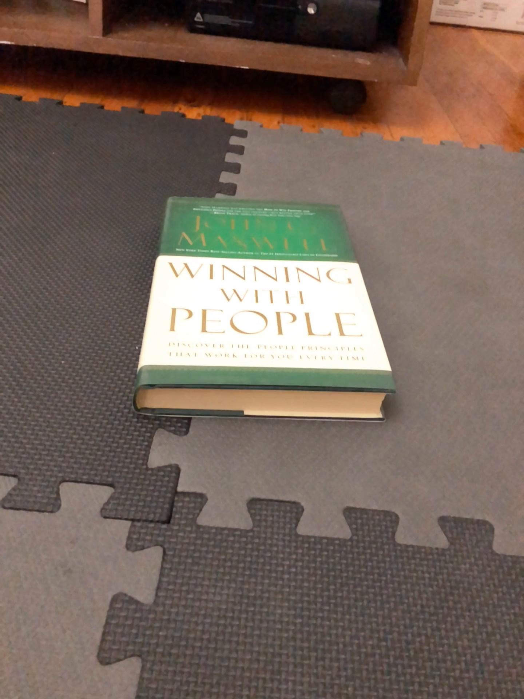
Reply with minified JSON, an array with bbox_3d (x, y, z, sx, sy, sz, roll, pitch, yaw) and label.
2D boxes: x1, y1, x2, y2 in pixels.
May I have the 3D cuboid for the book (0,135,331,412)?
[{"bbox_3d":[-0.067,-0.077,0.411,0.200,0.030,0.292,3,40,-3],"label":"book"}]
